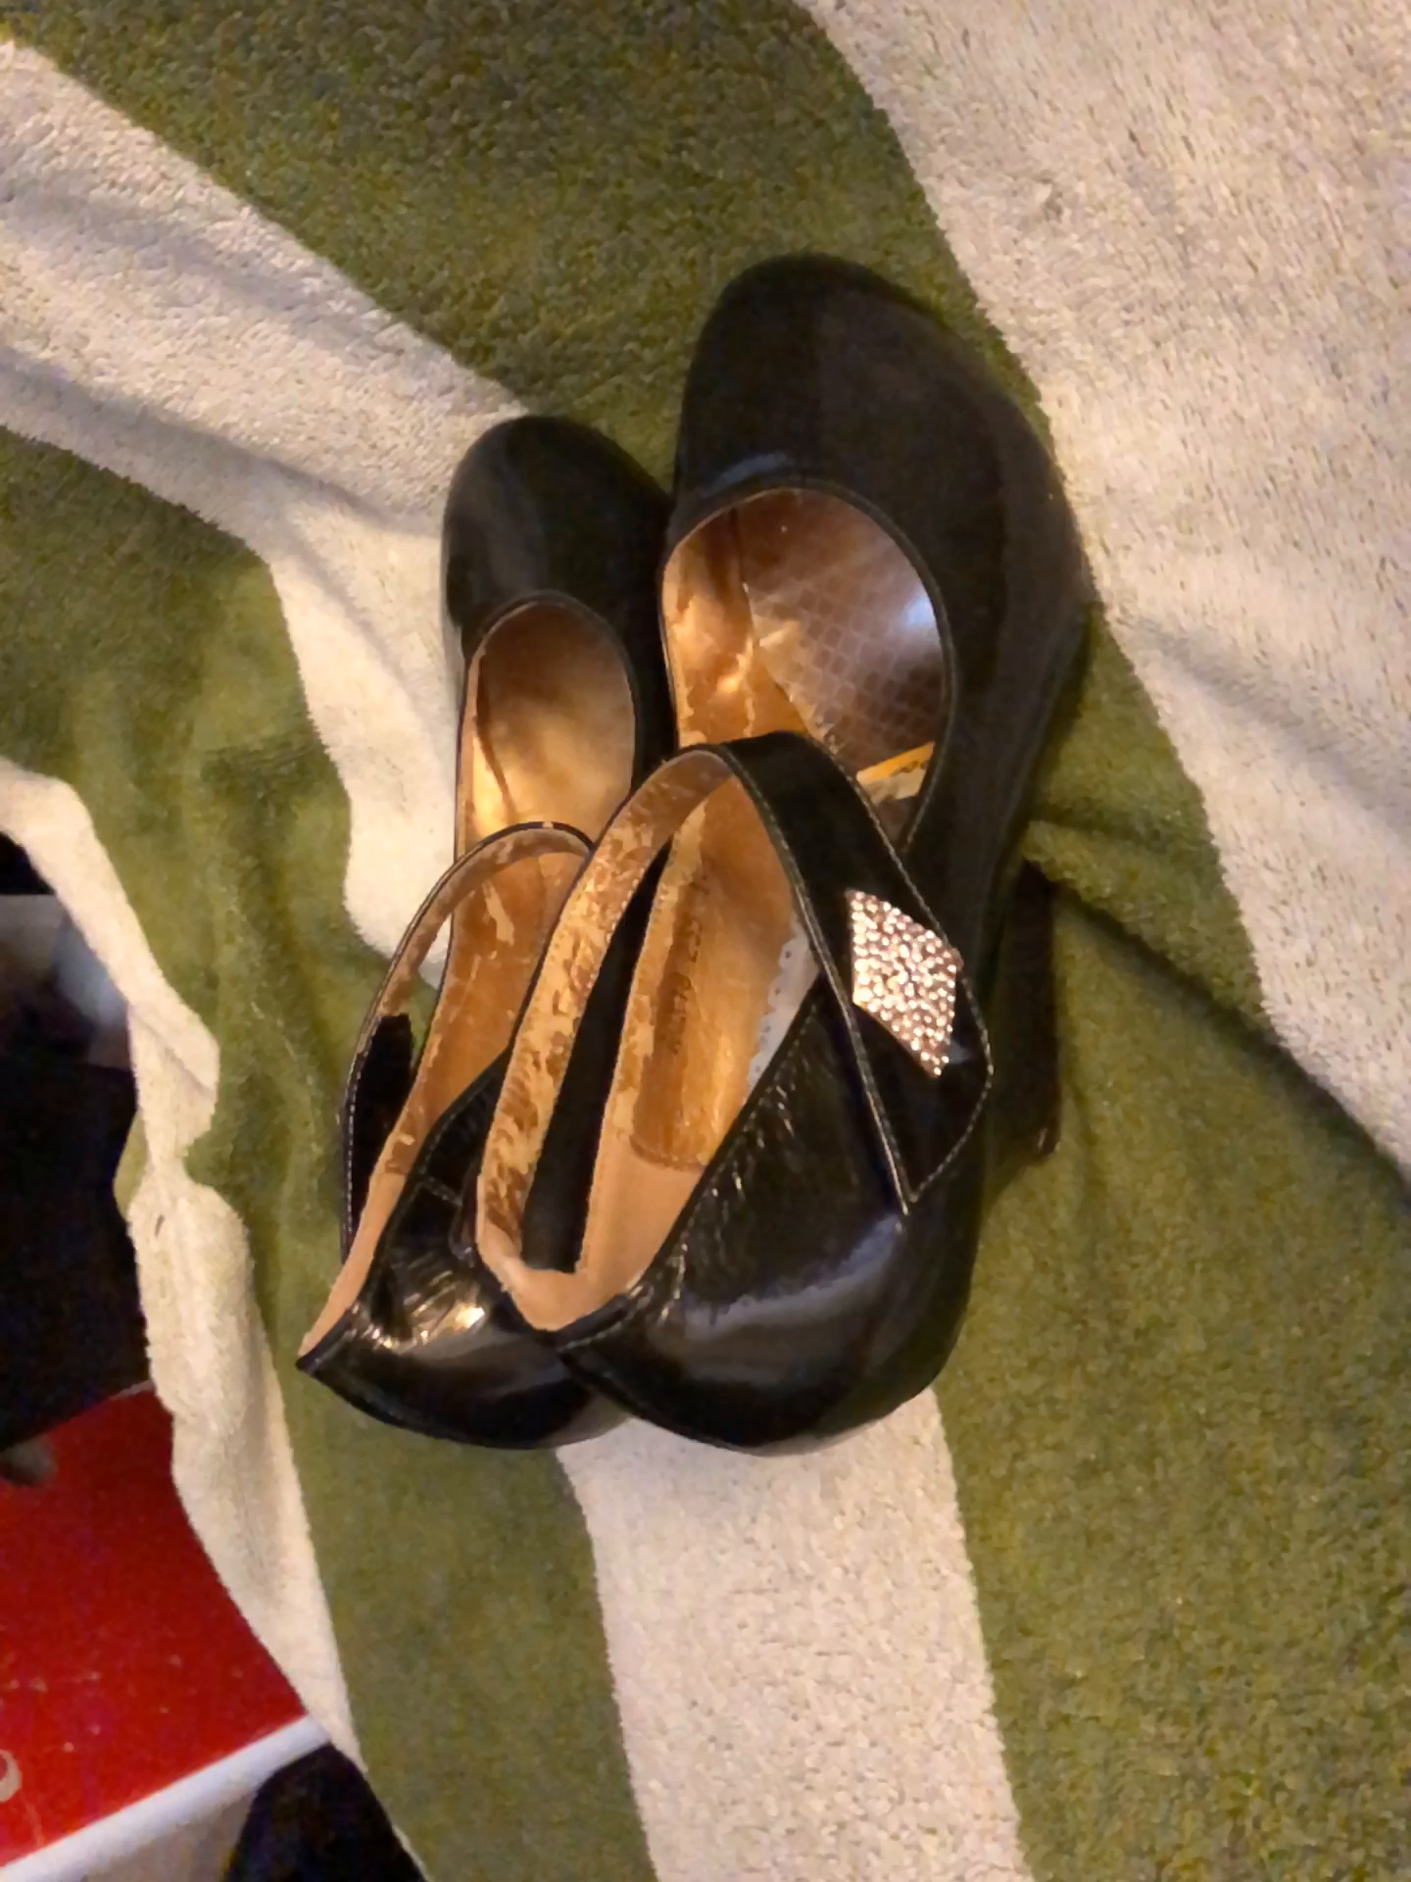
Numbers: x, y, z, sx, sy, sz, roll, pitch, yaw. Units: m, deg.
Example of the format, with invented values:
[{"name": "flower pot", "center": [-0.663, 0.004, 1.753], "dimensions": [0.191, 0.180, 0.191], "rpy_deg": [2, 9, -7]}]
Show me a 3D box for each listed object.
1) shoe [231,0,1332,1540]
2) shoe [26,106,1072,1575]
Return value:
[{"name": "shoe", "center": [0.014, -0.039, 0.270], "dimensions": [0.090, 0.119, 0.240], "rpy_deg": [-17, 81, 39]}, {"name": "shoe", "center": [-0.035, -0.019, 0.317], "dimensions": [0.090, 0.119, 0.240], "rpy_deg": [-29, 74, 37]}]
